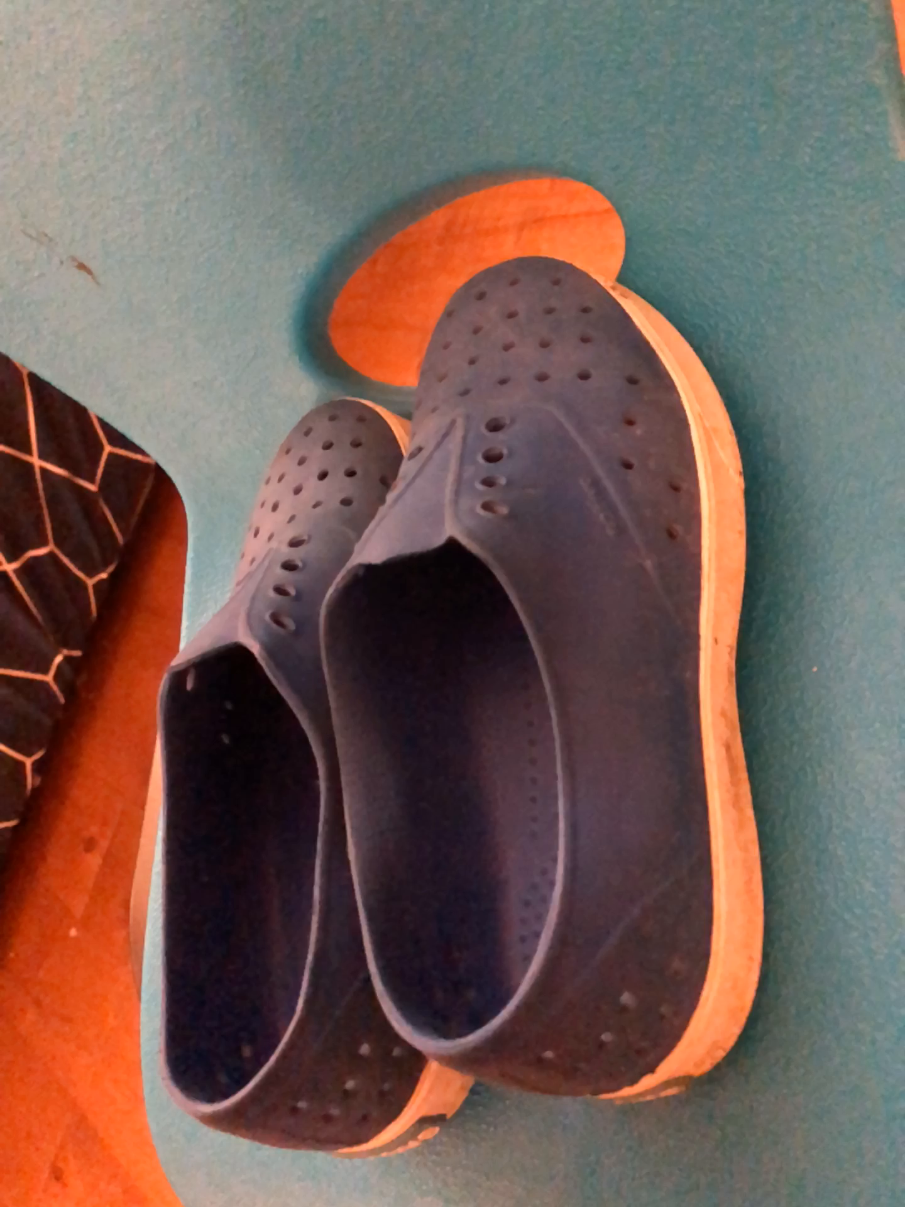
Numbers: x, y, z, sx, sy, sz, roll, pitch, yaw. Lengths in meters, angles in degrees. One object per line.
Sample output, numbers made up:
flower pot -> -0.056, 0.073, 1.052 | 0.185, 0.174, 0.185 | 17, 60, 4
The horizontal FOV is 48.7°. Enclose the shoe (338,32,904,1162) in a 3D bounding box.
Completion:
shoe -> 0.033, -0.005, 0.245 | 0.100, 0.070, 0.241 | -22, 59, 34

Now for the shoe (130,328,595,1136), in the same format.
shoe -> -0.029, 0.039, 0.304 | 0.090, 0.080, 0.211 | -22, 59, 34
